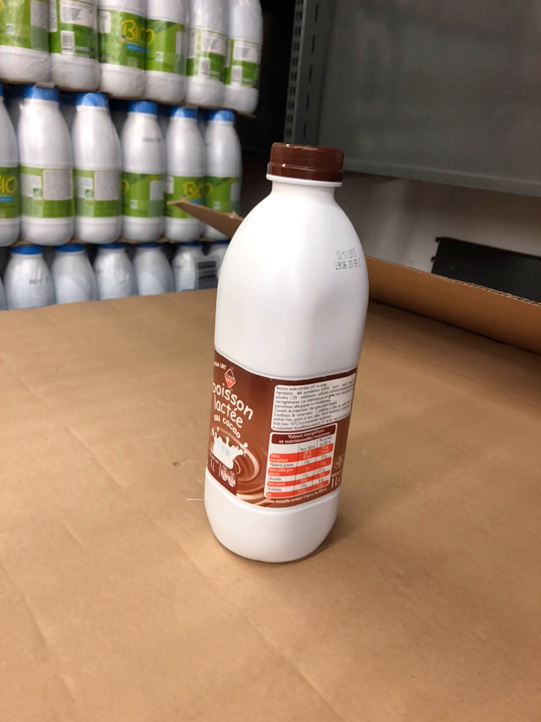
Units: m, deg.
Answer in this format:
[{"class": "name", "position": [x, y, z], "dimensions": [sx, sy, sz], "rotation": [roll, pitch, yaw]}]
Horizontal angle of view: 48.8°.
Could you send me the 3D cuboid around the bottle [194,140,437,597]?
[{"class": "bottle", "position": [0.017, 0.001, 0.355], "dimensions": [0.080, 0.239, 0.090], "rotation": [-12, 25, -38]}]
